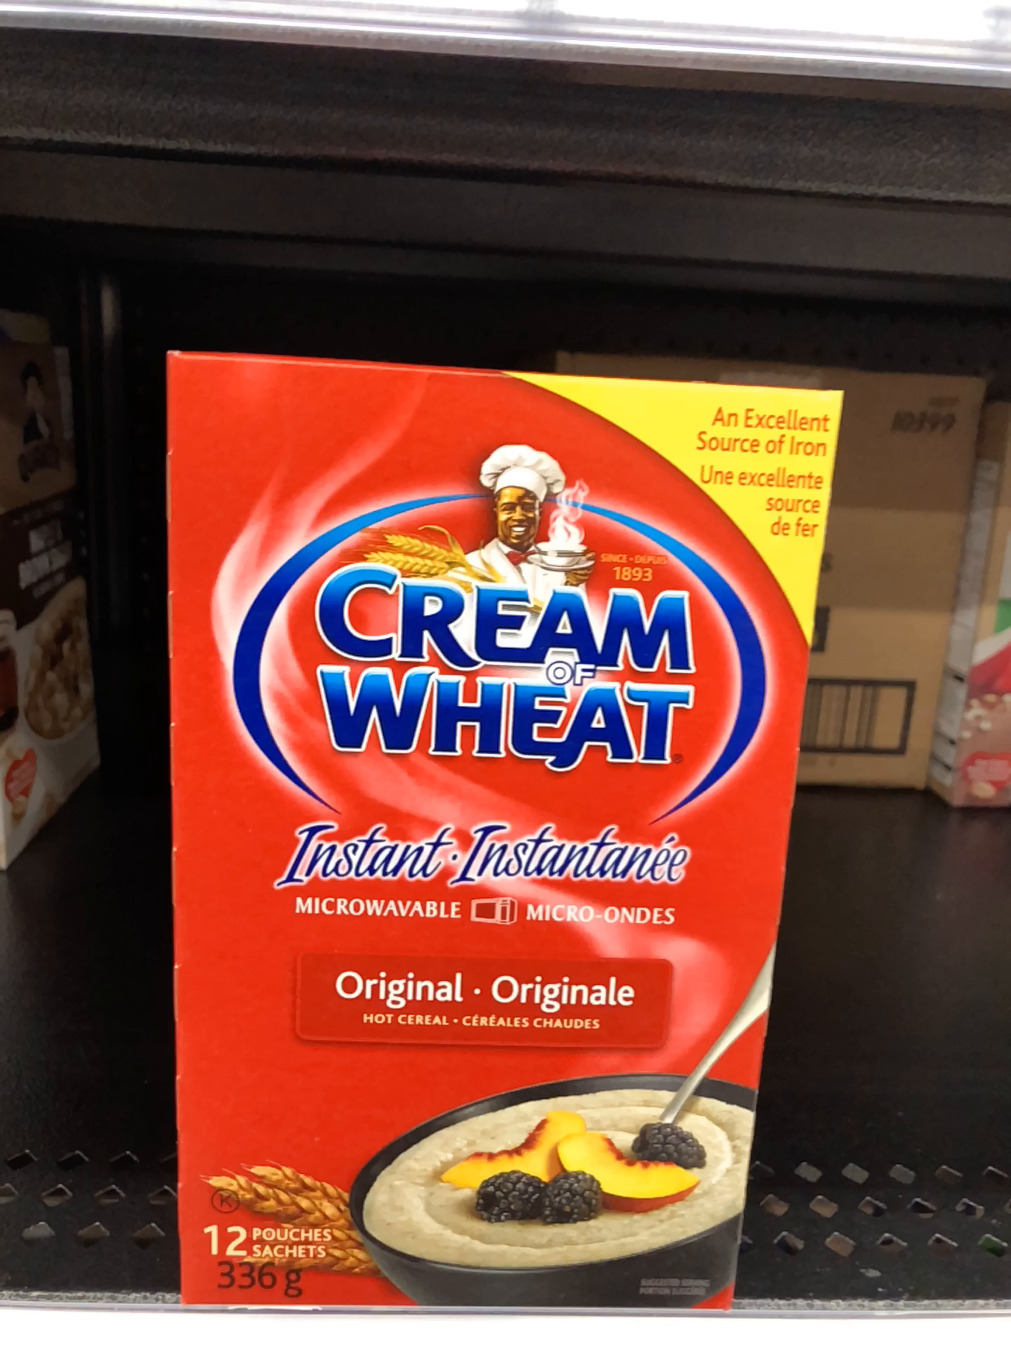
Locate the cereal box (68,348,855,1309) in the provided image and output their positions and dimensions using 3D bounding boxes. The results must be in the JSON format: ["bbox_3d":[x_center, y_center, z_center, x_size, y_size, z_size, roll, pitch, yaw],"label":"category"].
[{"bbox_3d":[-0.012,0.032,0.240,0.130,0.189,0.060,2,15,-3],"label":"cereal box"}]
